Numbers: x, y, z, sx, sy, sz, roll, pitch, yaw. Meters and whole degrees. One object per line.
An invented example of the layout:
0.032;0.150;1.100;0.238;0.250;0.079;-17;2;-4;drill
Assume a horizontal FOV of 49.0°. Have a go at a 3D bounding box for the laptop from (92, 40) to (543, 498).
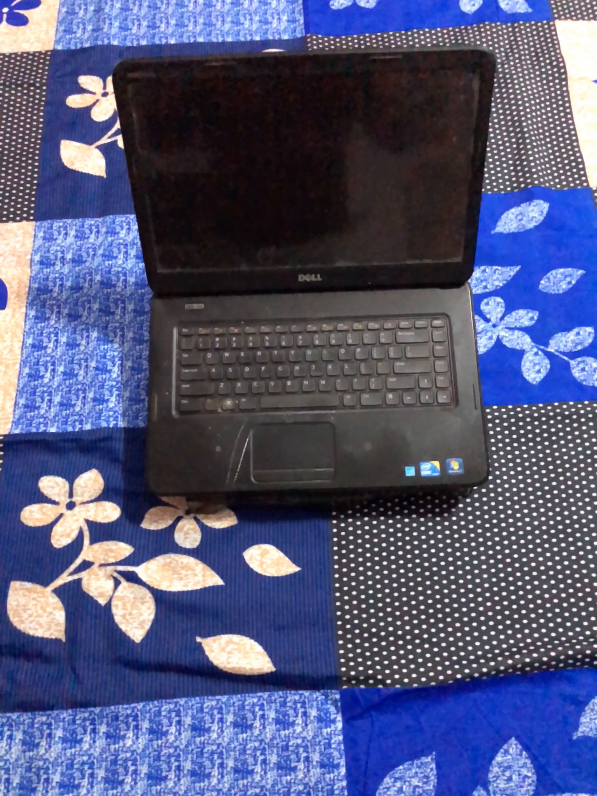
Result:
0.014;-0.123;0.671;0.363;0.187;0.389;-2;72;0;laptop
